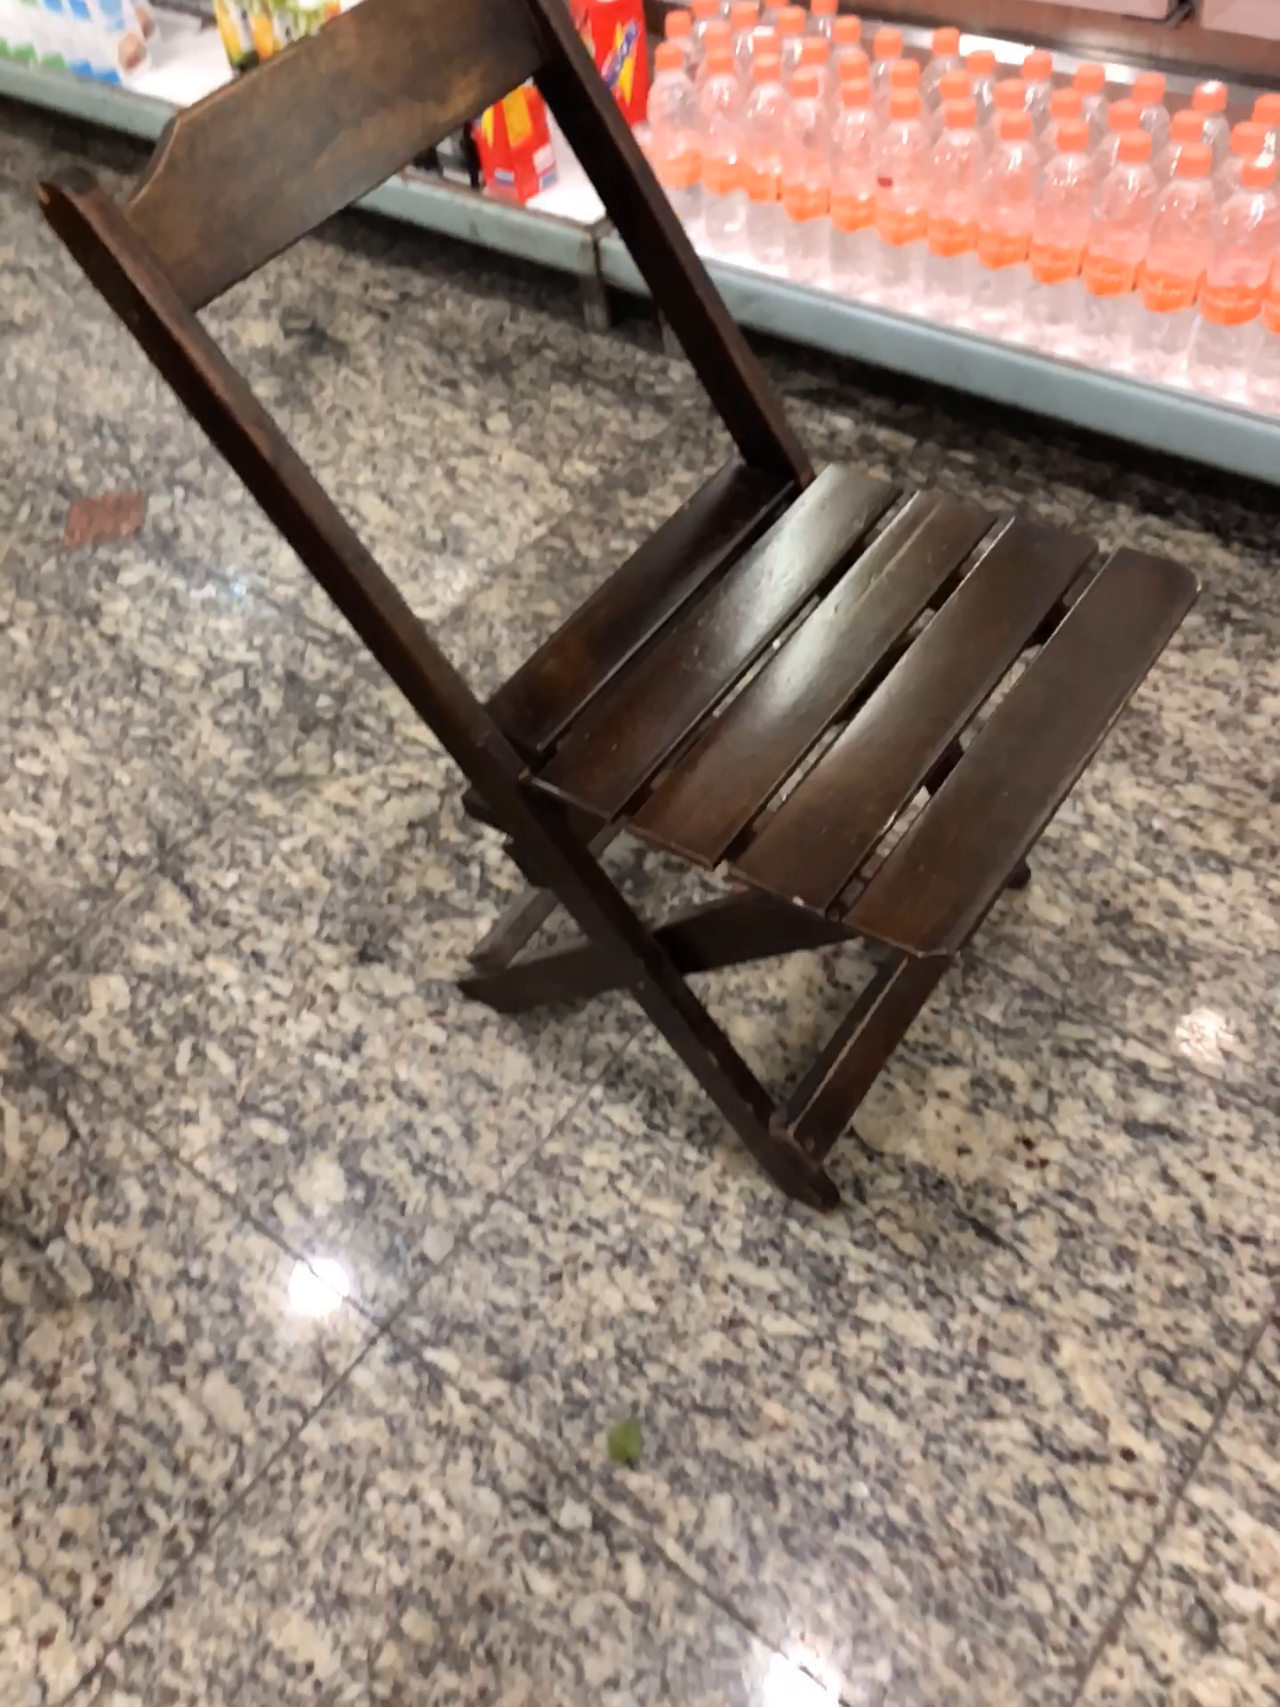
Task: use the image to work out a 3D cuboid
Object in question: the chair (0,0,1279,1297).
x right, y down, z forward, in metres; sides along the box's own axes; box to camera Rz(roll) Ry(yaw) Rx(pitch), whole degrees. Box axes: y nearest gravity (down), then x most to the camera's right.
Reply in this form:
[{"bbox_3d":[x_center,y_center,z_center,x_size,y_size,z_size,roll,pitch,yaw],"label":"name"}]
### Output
[{"bbox_3d":[0.027,-0.152,0.987,0.552,0.705,0.442,24,58,26],"label":"chair"}]
